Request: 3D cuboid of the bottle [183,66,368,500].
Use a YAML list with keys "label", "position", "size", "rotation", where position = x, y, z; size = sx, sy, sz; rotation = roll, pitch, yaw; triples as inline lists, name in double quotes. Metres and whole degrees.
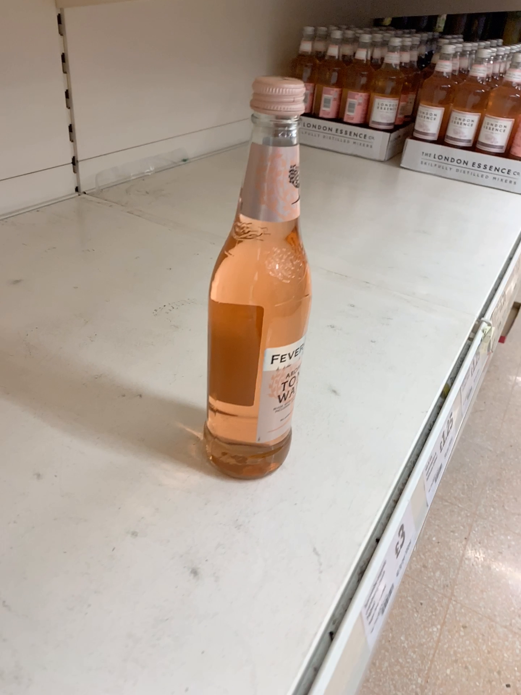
- label: "bottle"
  position: [0.001, -0.030, 0.339]
  size: [0.067, 0.253, 0.078]
  rotation: [18, 35, 18]
